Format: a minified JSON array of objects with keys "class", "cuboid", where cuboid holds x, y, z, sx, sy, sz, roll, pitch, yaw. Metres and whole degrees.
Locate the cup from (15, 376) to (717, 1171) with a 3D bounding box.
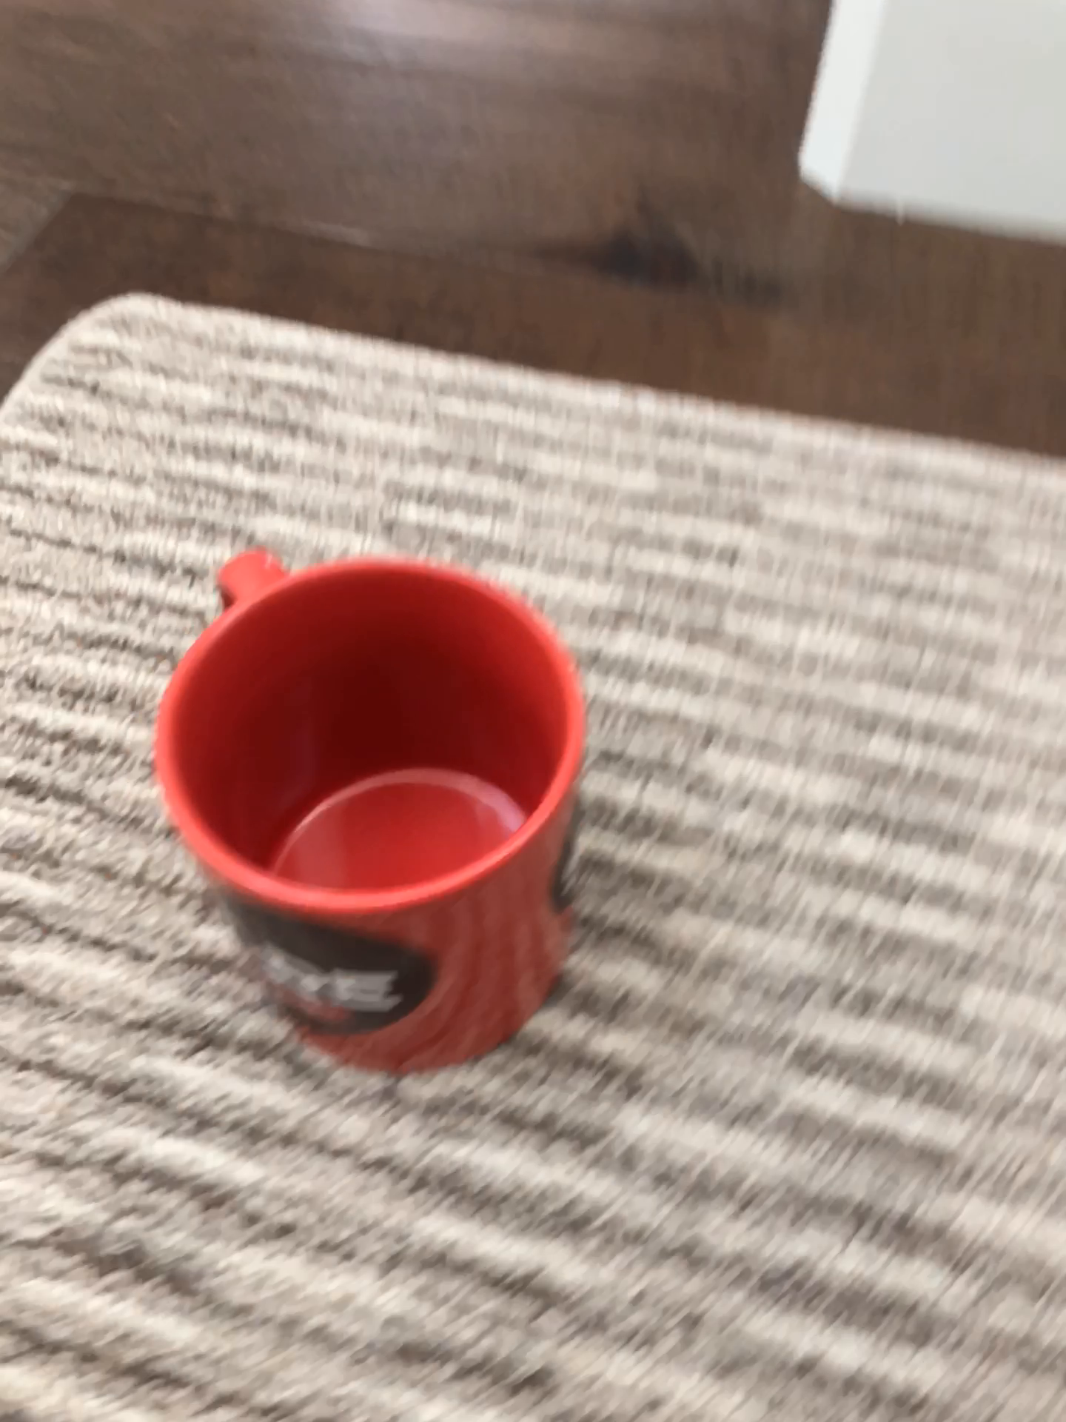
[{"class":"cup","cuboid":[-0.046,0.016,0.332,0.110,0.119,0.151,-27,59,-18]}]
